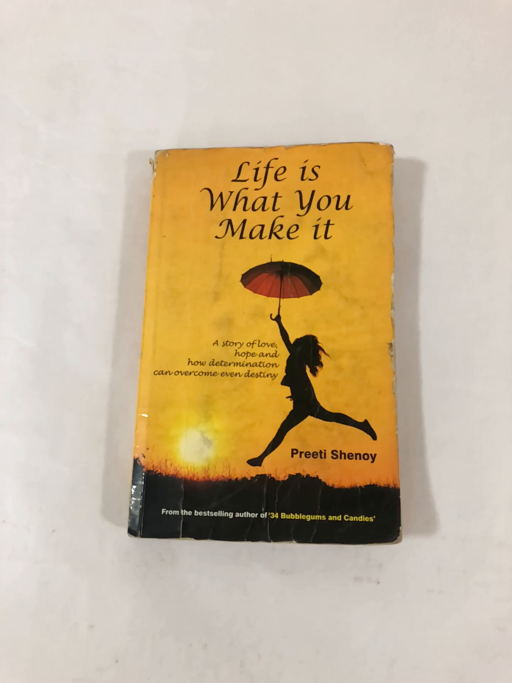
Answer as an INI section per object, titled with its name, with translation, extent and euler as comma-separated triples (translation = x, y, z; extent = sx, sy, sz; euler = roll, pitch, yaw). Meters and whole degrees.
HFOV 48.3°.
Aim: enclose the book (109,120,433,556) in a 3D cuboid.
[book]
translation = 0.008, -0.009, 0.280
extent = 0.140, 0.020, 0.210
euler = 0, 77, 2
